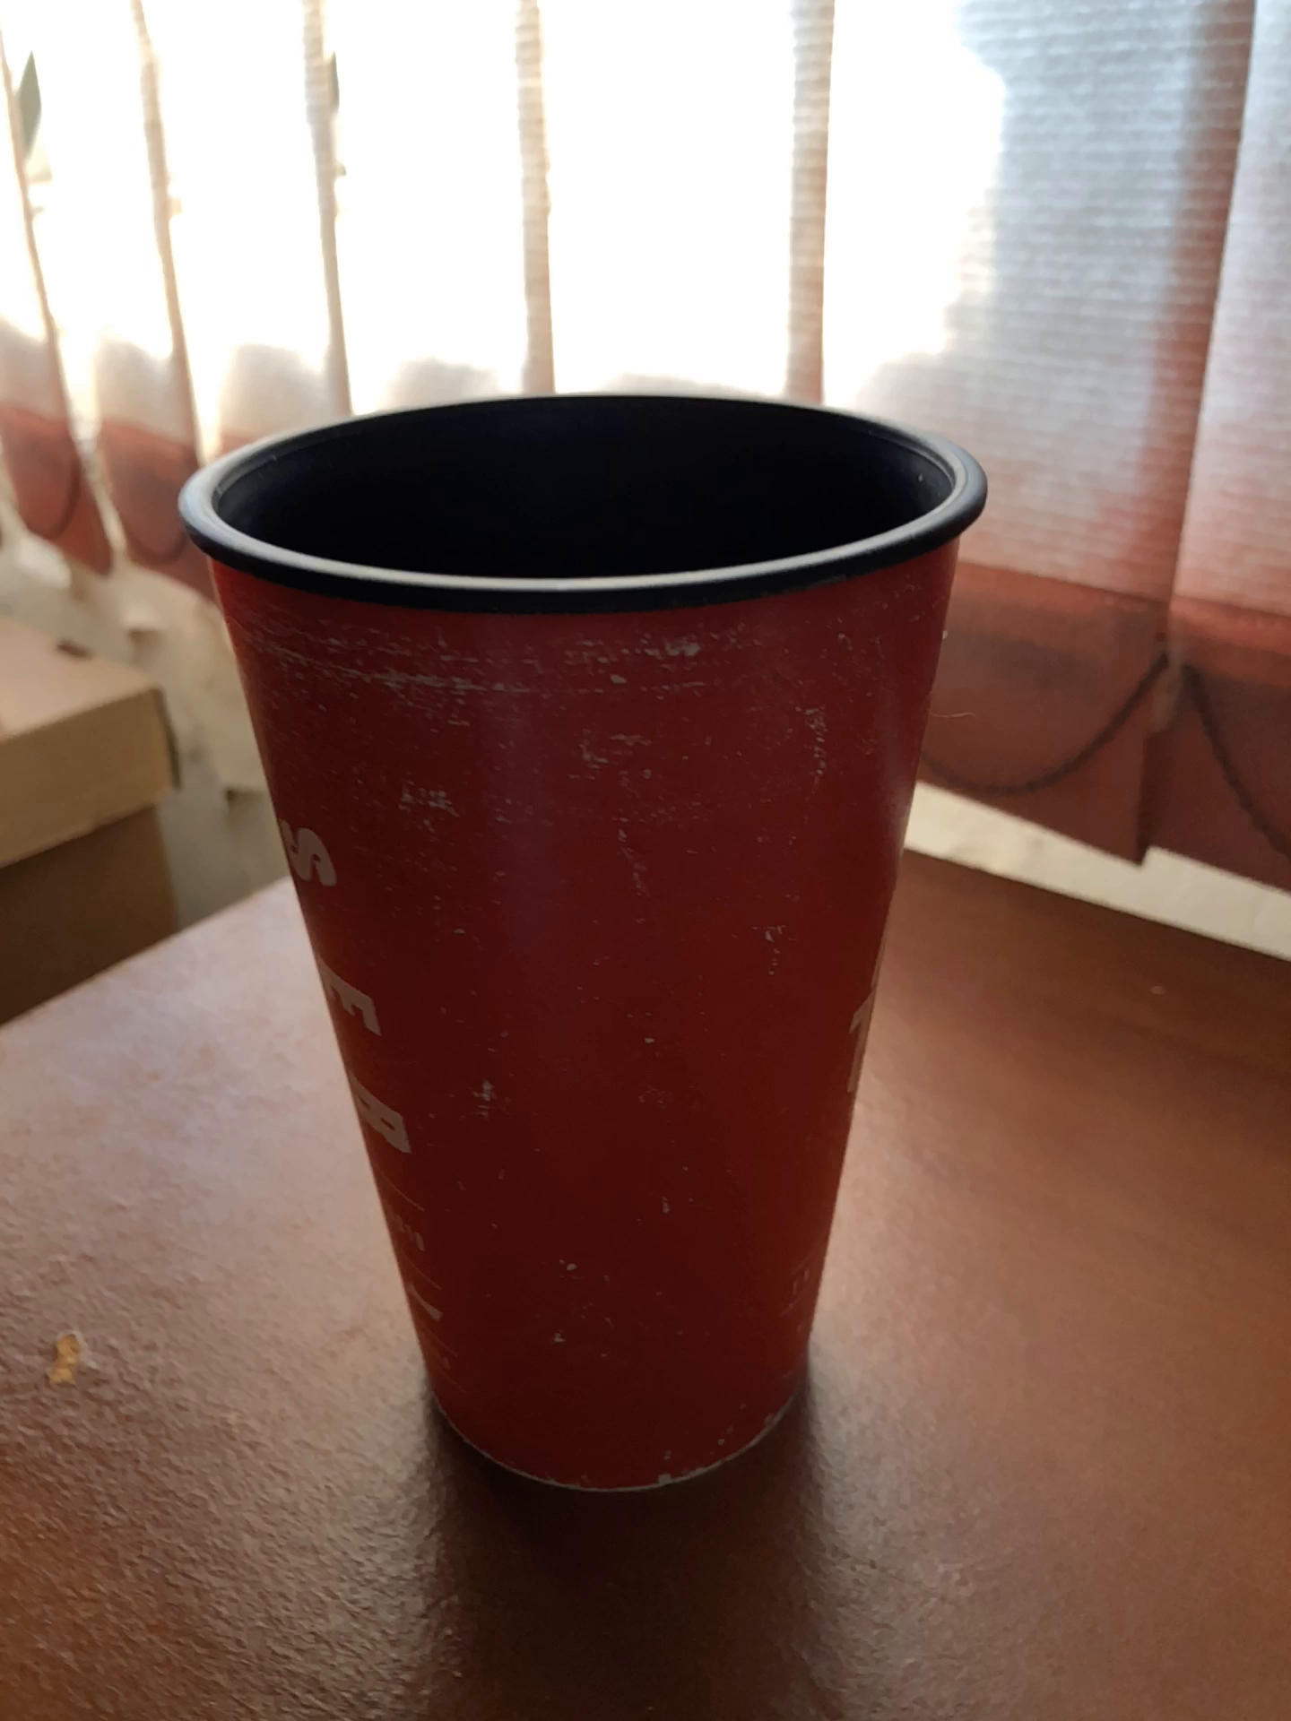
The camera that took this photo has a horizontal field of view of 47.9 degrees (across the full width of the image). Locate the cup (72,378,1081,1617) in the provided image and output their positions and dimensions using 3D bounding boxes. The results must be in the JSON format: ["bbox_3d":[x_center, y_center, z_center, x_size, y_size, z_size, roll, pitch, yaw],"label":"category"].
[{"bbox_3d":[-0.003,0.013,0.204,0.090,0.139,0.101,-1,26,2],"label":"cup"}]
